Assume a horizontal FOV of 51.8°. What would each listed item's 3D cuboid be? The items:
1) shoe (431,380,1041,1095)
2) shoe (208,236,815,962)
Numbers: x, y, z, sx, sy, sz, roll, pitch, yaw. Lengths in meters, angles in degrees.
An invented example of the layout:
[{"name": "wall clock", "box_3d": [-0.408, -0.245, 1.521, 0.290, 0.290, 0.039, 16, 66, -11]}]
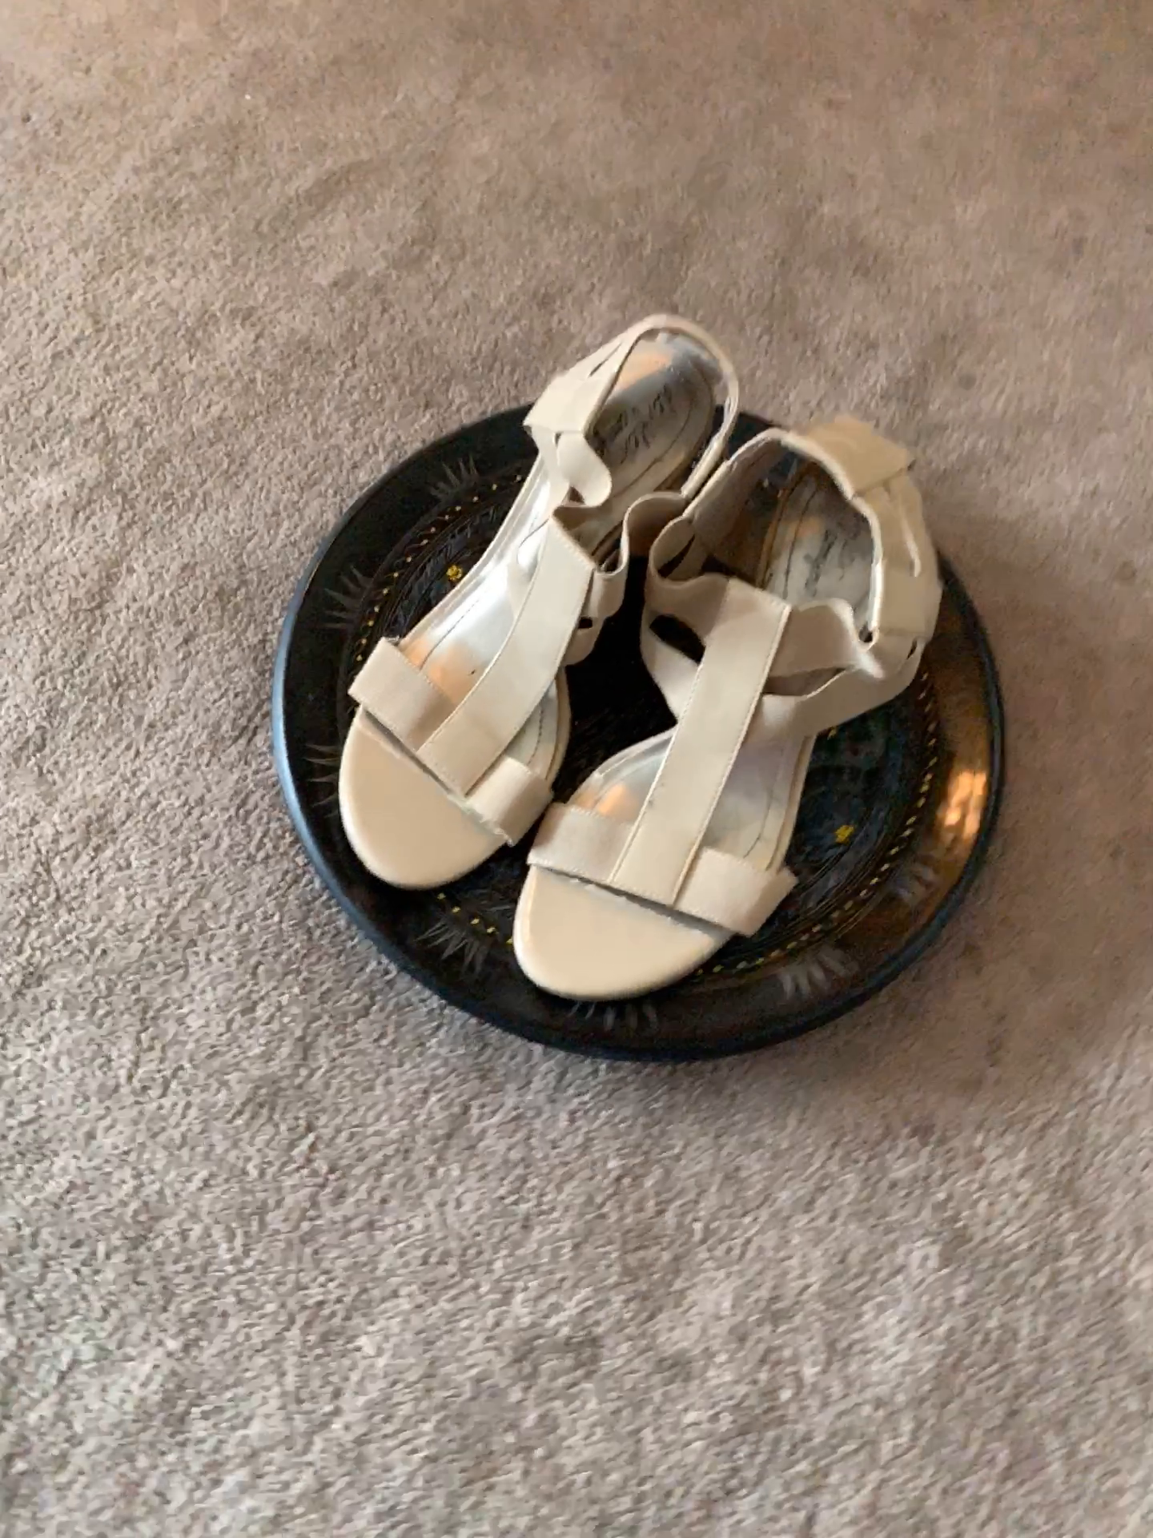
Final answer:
[{"name": "shoe", "box_3d": [0.056, -0.008, 0.426, 0.090, 0.090, 0.220, 33, 86, 10]}, {"name": "shoe", "box_3d": [-0.021, -0.058, 0.446, 0.100, 0.090, 0.230, 31, 86, 1]}]
